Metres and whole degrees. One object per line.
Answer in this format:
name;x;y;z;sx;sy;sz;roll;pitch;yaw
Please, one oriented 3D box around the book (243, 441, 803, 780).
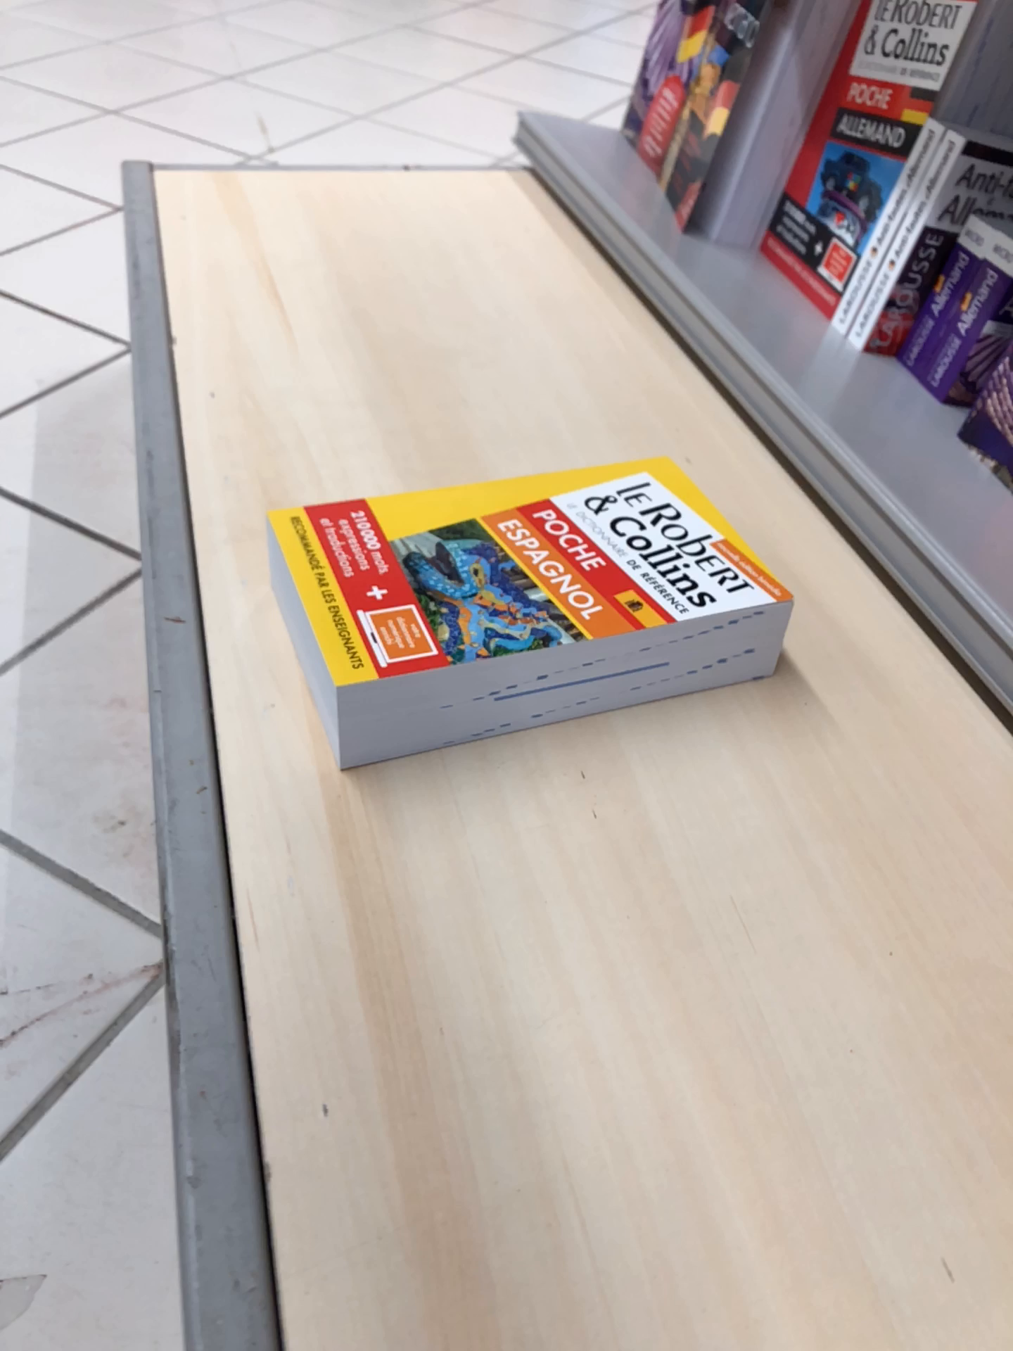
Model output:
book;0.002;-0.033;0.428;0.180;0.040;0.110;-11;45;-18
